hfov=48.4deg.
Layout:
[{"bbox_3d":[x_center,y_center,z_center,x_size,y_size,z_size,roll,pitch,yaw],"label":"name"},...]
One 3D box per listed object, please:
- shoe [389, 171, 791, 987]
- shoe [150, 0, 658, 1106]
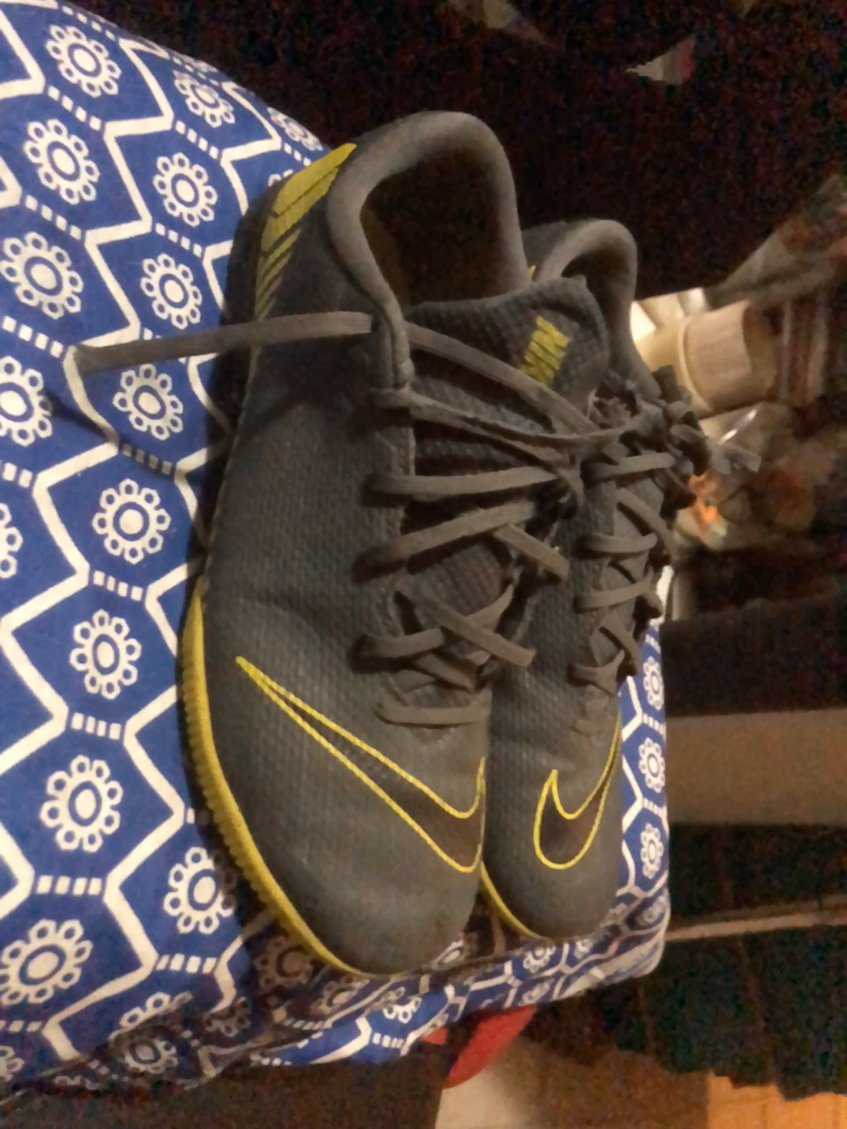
[{"bbox_3d":[0.055,0.006,0.335,0.091,0.089,0.240,10,74,-46],"label":"shoe"},{"bbox_3d":[-0.008,-0.006,0.259,0.091,0.089,0.240,10,74,-46],"label":"shoe"}]
